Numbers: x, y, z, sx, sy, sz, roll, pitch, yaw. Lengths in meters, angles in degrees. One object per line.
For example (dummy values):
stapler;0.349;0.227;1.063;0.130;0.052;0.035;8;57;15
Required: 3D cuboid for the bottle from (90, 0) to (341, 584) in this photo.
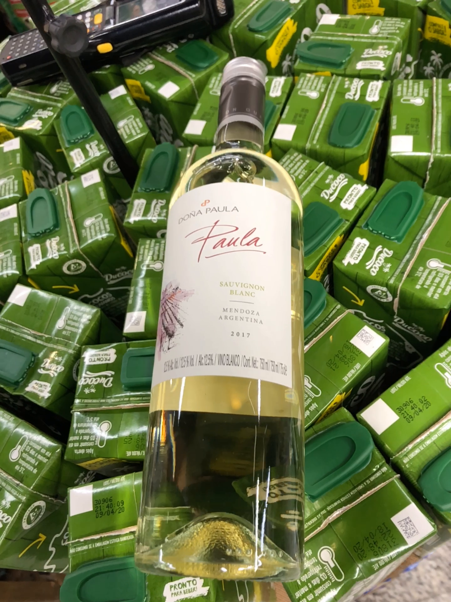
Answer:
bottle;0.011;-0.041;0.269;0.080;0.070;0.331;-3;60;13
